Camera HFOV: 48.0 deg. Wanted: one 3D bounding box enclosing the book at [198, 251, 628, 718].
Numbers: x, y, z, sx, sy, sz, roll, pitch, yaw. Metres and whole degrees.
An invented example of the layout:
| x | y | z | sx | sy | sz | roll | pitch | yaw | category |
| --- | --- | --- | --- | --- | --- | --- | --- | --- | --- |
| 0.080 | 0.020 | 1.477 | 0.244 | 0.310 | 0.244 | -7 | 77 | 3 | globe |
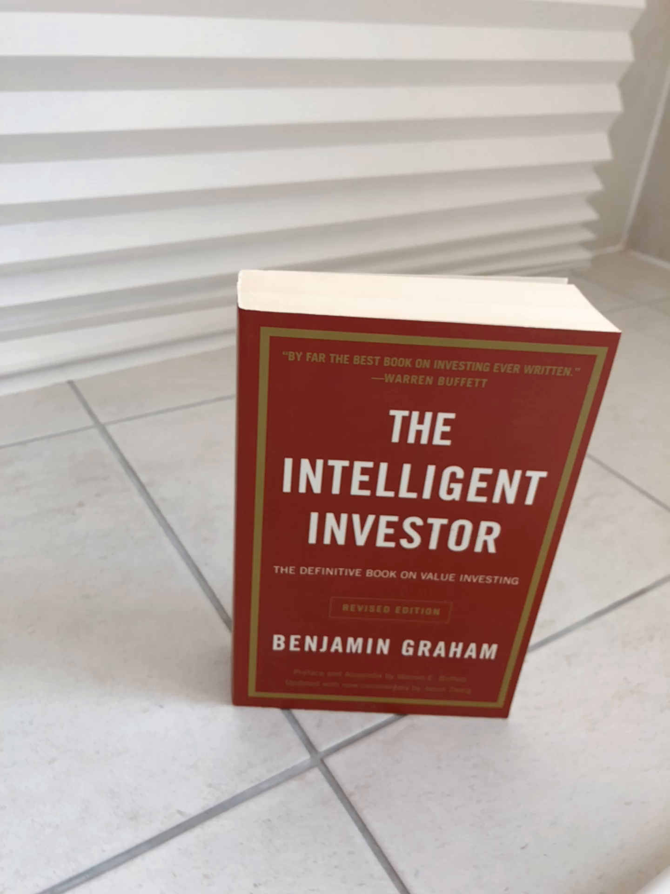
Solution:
| x | y | z | sx | sy | sz | roll | pitch | yaw | category |
| --- | --- | --- | --- | --- | --- | --- | --- | --- | --- |
| 0.020 | 0.027 | 0.337 | 0.149 | 0.206 | 0.057 | 3 | 32 | -3 | book |
